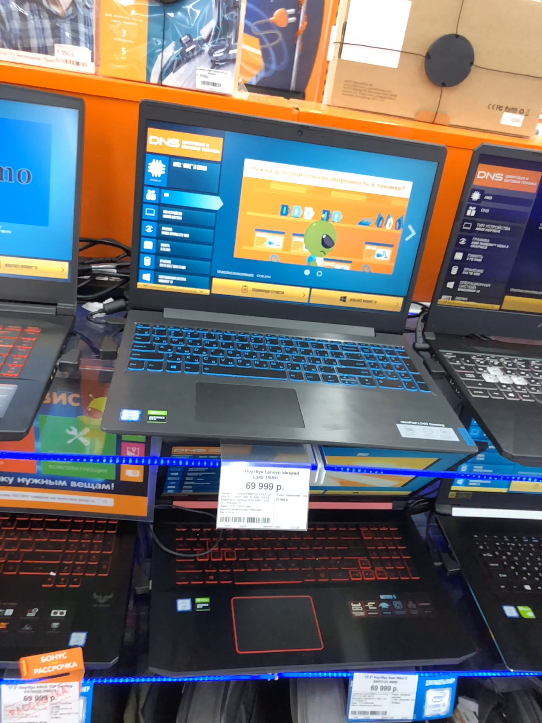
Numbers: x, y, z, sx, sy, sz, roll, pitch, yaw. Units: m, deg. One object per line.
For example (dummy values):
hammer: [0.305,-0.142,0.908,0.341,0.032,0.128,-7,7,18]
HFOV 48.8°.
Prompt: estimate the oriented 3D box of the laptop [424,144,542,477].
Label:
laptop: [0.416,-0.066,0.663,0.368,0.244,0.274,5,28,-8]

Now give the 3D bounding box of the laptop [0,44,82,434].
laptop: [-0.383,-0.129,0.548,0.356,0.224,0.320,4,29,-11]

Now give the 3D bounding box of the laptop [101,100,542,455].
laptop: [0.031,-0.096,0.607,0.356,0.235,0.279,5,28,-9]
